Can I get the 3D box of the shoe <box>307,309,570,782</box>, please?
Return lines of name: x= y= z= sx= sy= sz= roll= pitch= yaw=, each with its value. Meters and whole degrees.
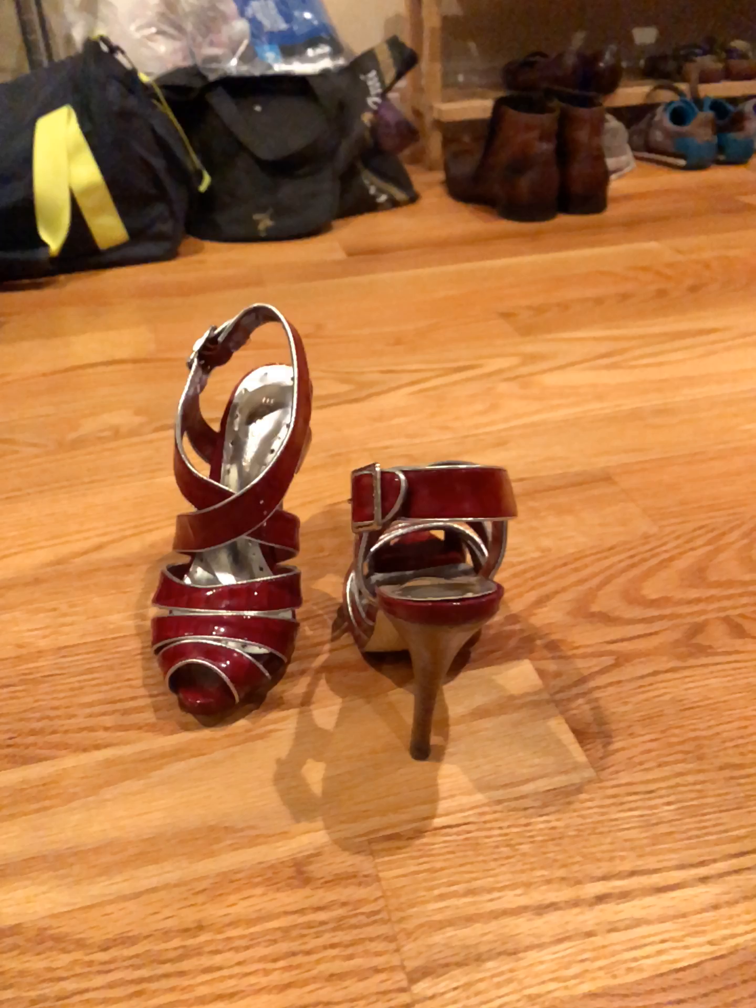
shoe: x=0.022 y=0.008 z=0.410 sx=0.091 sy=0.141 sz=0.194 roll=-3 pitch=32 yaw=0

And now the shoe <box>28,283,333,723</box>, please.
shoe: x=-0.084 y=-0.012 z=0.449 sx=0.091 sy=0.151 sz=0.199 roll=-1 pitch=32 yaw=3
